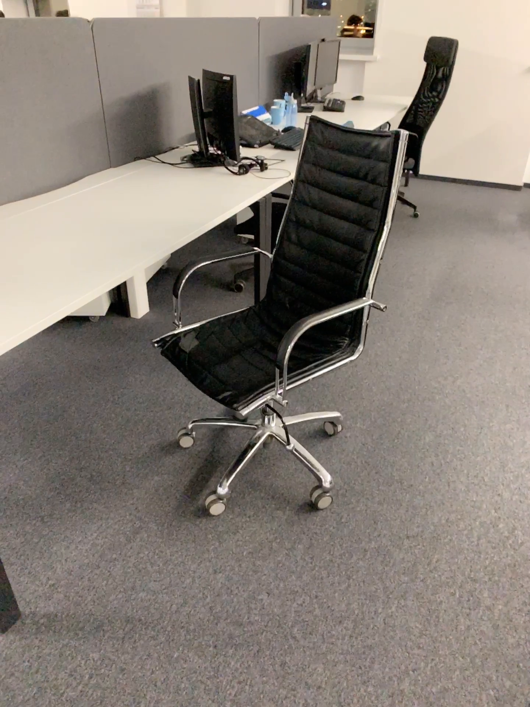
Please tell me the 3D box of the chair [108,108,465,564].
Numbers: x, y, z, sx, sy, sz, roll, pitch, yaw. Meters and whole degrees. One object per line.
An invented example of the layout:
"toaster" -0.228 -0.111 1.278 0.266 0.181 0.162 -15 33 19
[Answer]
"chair" 0.032 -0.096 1.719 0.692 1.133 0.642 -20 37 -30
